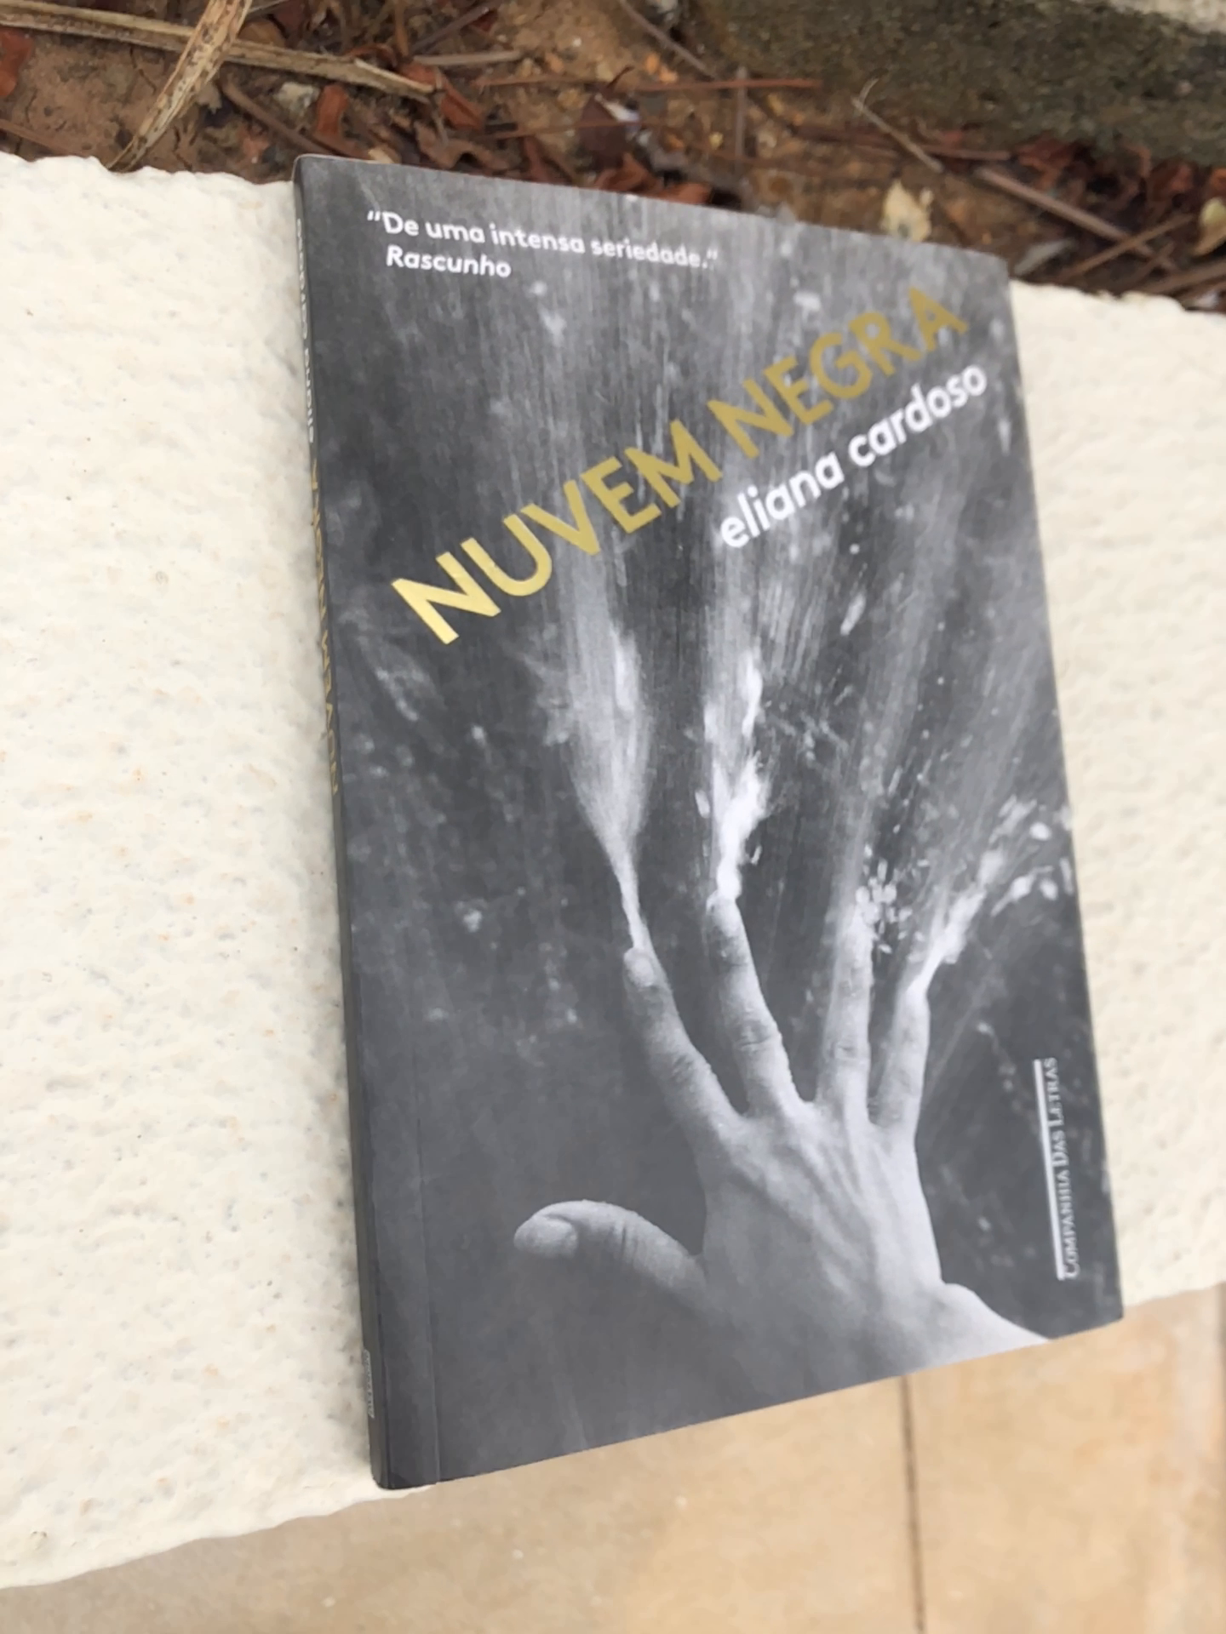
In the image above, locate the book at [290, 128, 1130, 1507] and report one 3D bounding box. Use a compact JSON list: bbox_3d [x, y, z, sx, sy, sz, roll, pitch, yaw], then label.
[{"bbox_3d":[0.022,-0.005,0.235,0.141,0.013,0.200,-2,86,-25],"label":"book"}]
